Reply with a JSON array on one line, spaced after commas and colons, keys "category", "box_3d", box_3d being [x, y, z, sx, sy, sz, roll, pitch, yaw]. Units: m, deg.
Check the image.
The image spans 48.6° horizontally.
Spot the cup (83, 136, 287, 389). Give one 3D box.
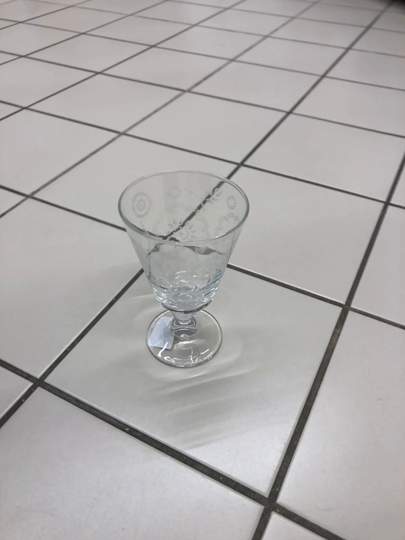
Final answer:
[{"category": "cup", "box_3d": [-0.011, -0.007, 0.341, 0.095, 0.138, 0.095, 0, 42, 0]}]
